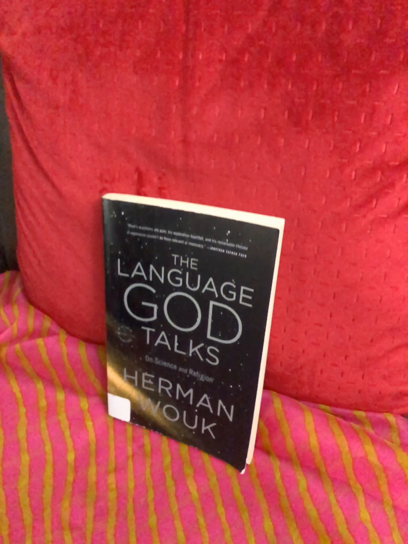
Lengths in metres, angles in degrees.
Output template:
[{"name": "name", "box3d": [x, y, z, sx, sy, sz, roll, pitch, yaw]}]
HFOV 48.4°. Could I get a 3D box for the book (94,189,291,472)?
[{"name": "book", "box3d": [-0.017, 0.046, 0.356, 0.138, 0.199, 0.030, 13, 25, 21]}]
